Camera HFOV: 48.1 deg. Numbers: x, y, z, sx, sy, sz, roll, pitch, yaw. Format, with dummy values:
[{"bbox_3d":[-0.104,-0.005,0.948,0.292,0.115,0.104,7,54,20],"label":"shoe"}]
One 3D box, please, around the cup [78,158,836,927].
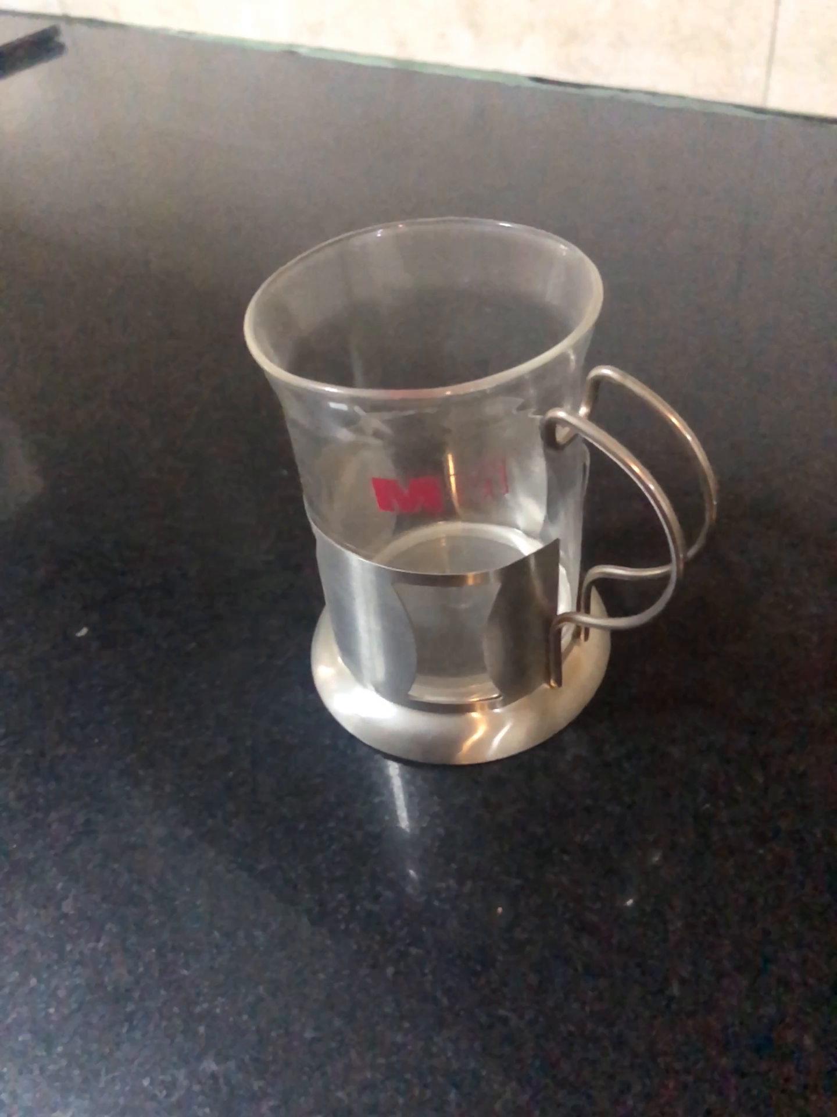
[{"bbox_3d":[0.011,-0.008,0.203,0.110,0.109,0.080,25,52,30],"label":"cup"}]
